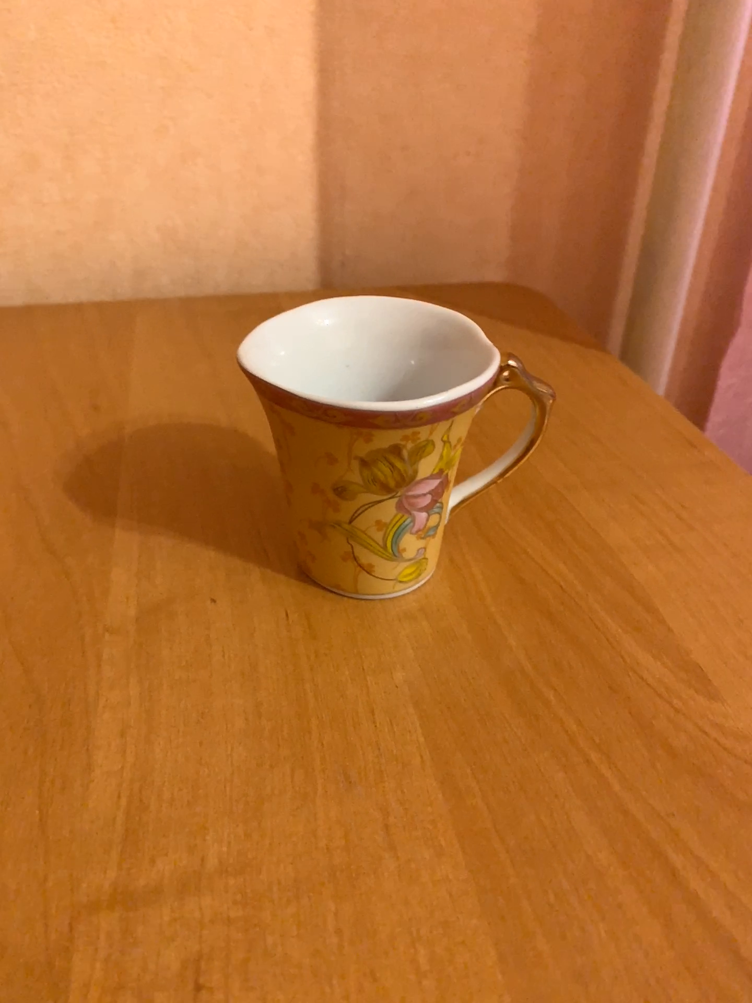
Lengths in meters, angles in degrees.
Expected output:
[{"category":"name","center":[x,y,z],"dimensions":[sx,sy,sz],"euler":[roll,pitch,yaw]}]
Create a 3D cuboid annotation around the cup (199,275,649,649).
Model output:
[{"category":"cup","center":[0.009,-0.018,0.220],"dimensions":[0.094,0.061,0.072],"euler":[-13,35,-21]}]
